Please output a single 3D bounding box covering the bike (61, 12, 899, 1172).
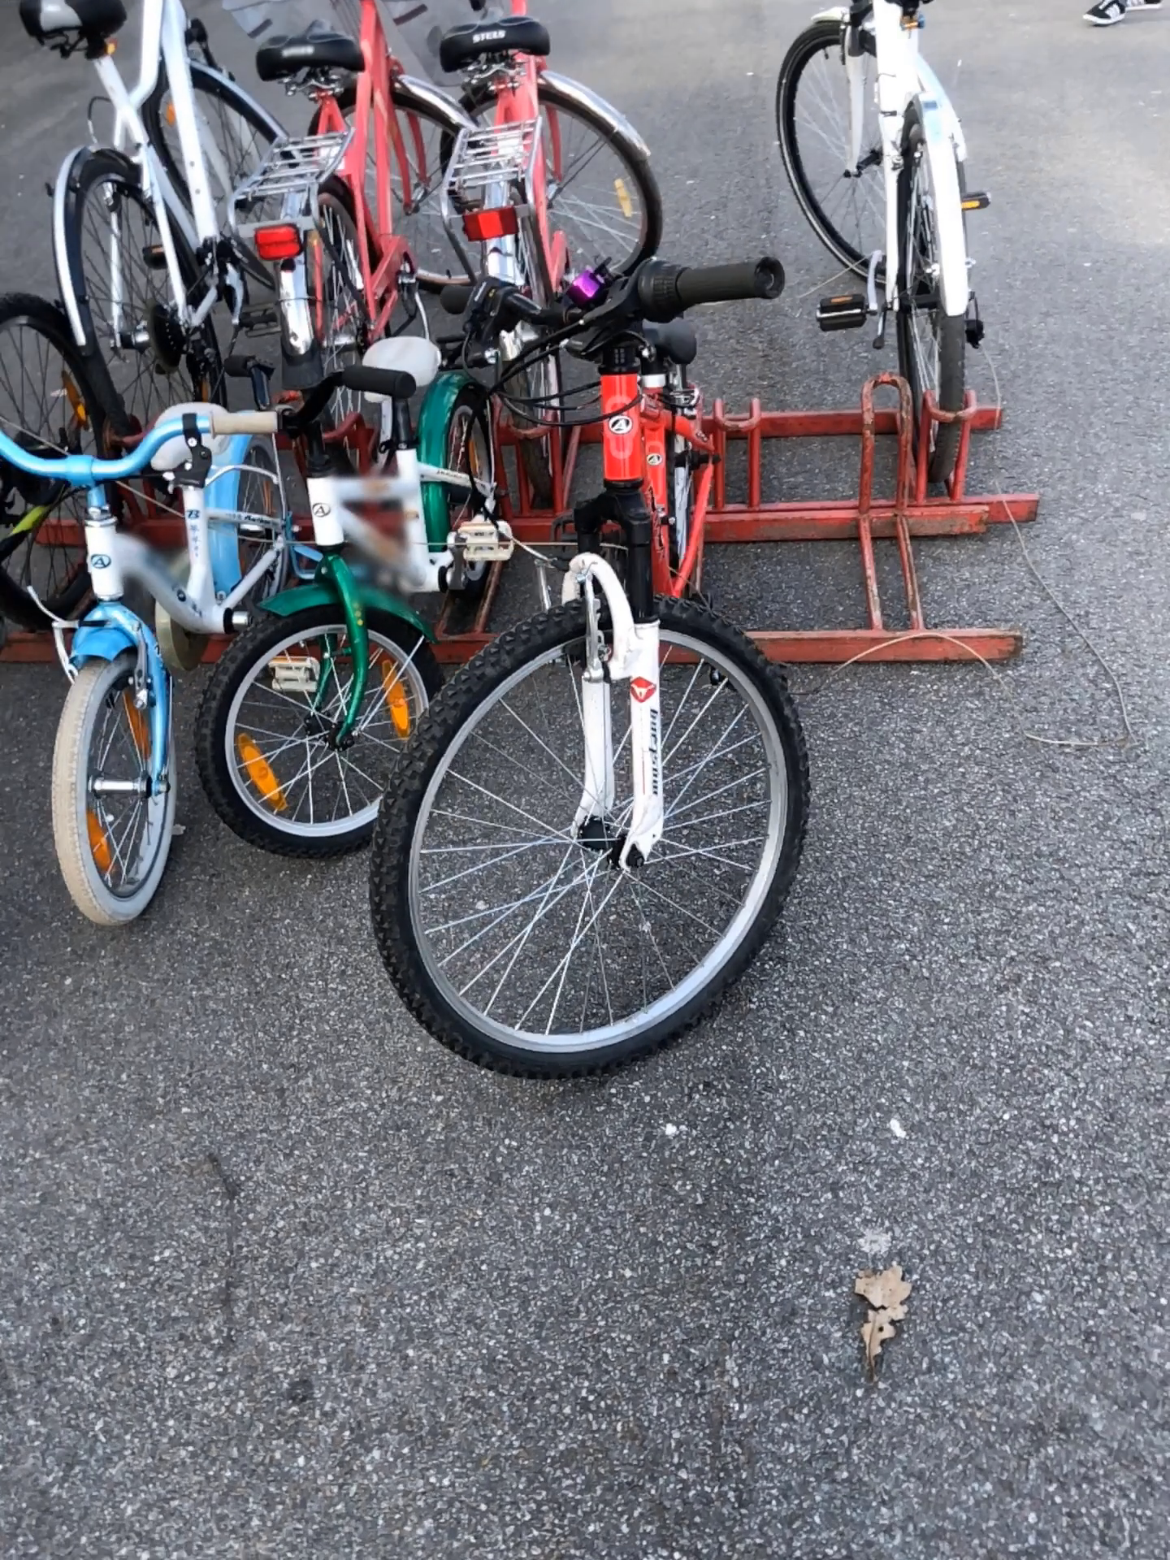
[{"bbox_3d":[0.045,-0.389,1.781,0.551,0.907,1.452,8,42,12],"label":"bike"}]
